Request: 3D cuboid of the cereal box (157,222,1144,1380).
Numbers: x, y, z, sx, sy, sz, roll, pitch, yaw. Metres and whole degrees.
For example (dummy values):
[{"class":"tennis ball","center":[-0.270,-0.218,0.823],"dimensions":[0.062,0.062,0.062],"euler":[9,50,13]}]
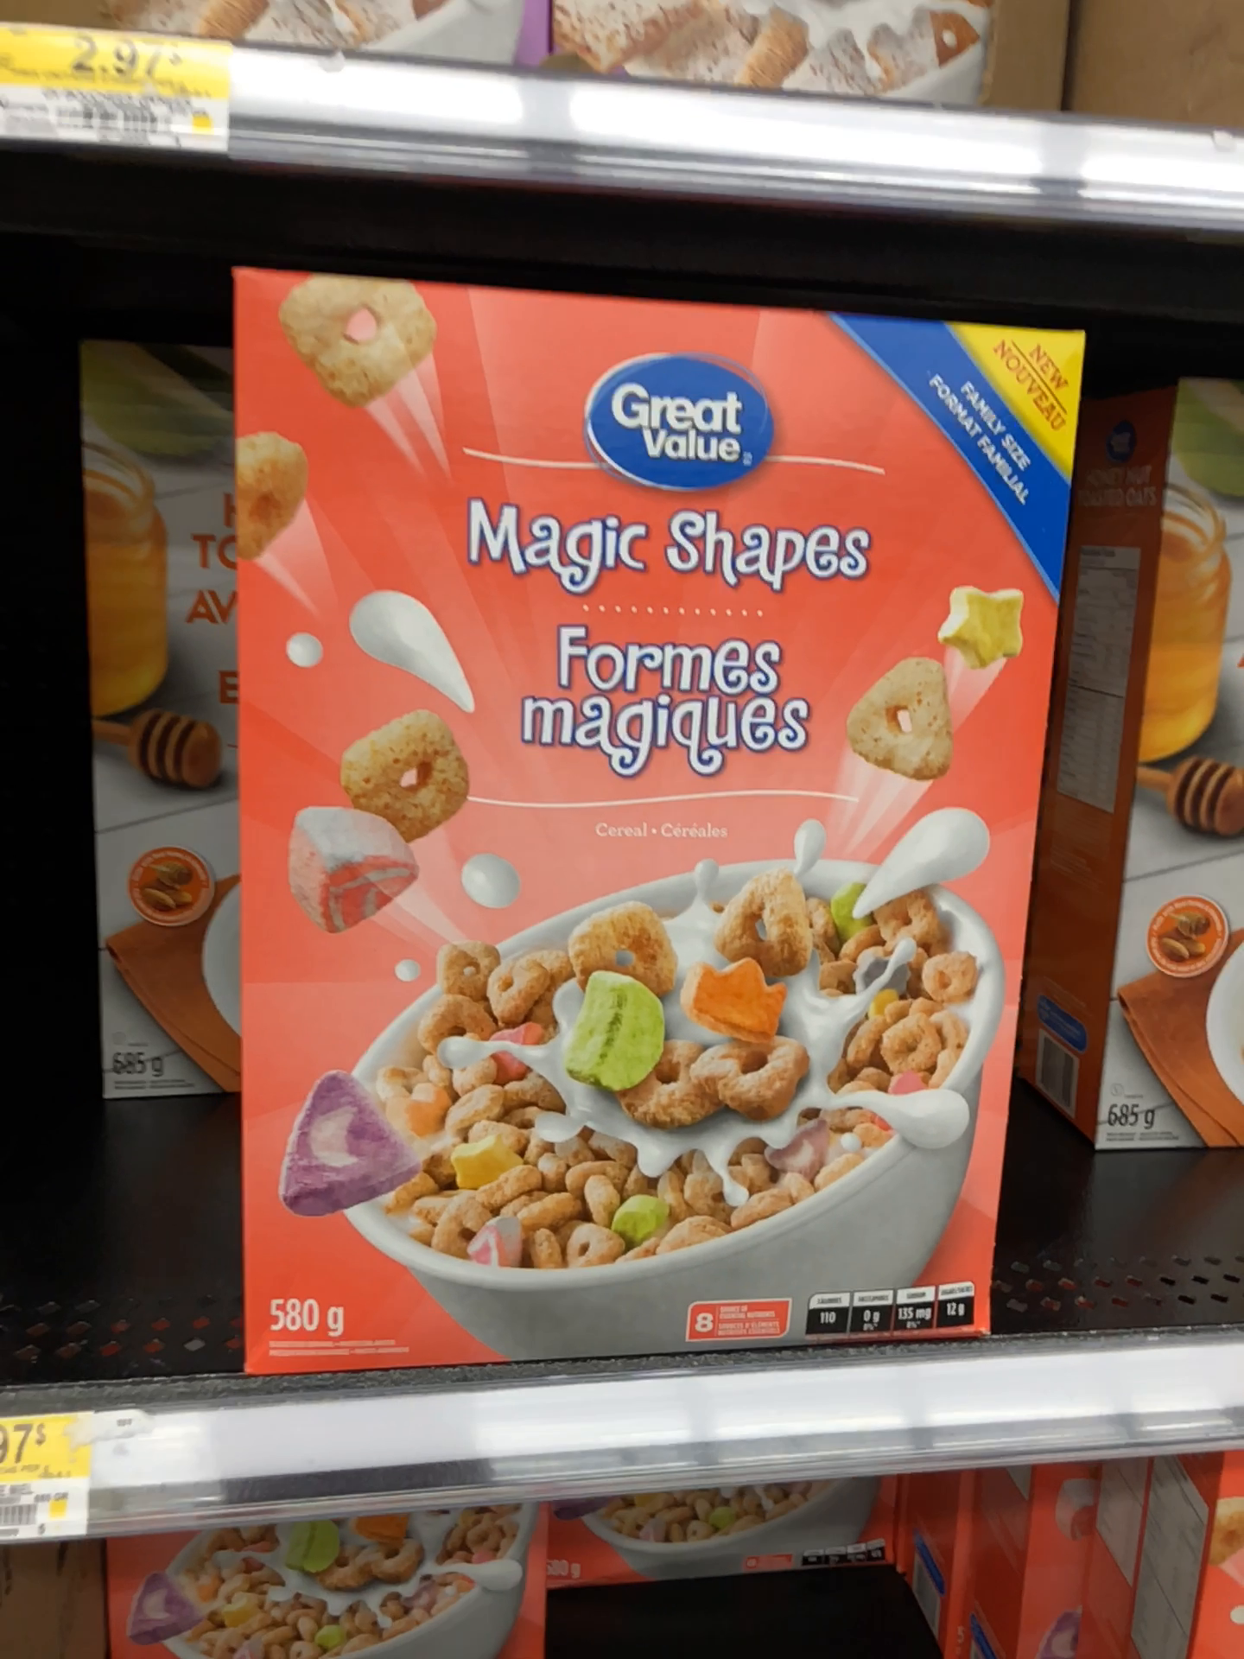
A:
[{"class":"cereal box","center":[0.003,-0.001,0.424],"dimensions":[0.260,0.319,0.070],"euler":[0,13,-9]}]
